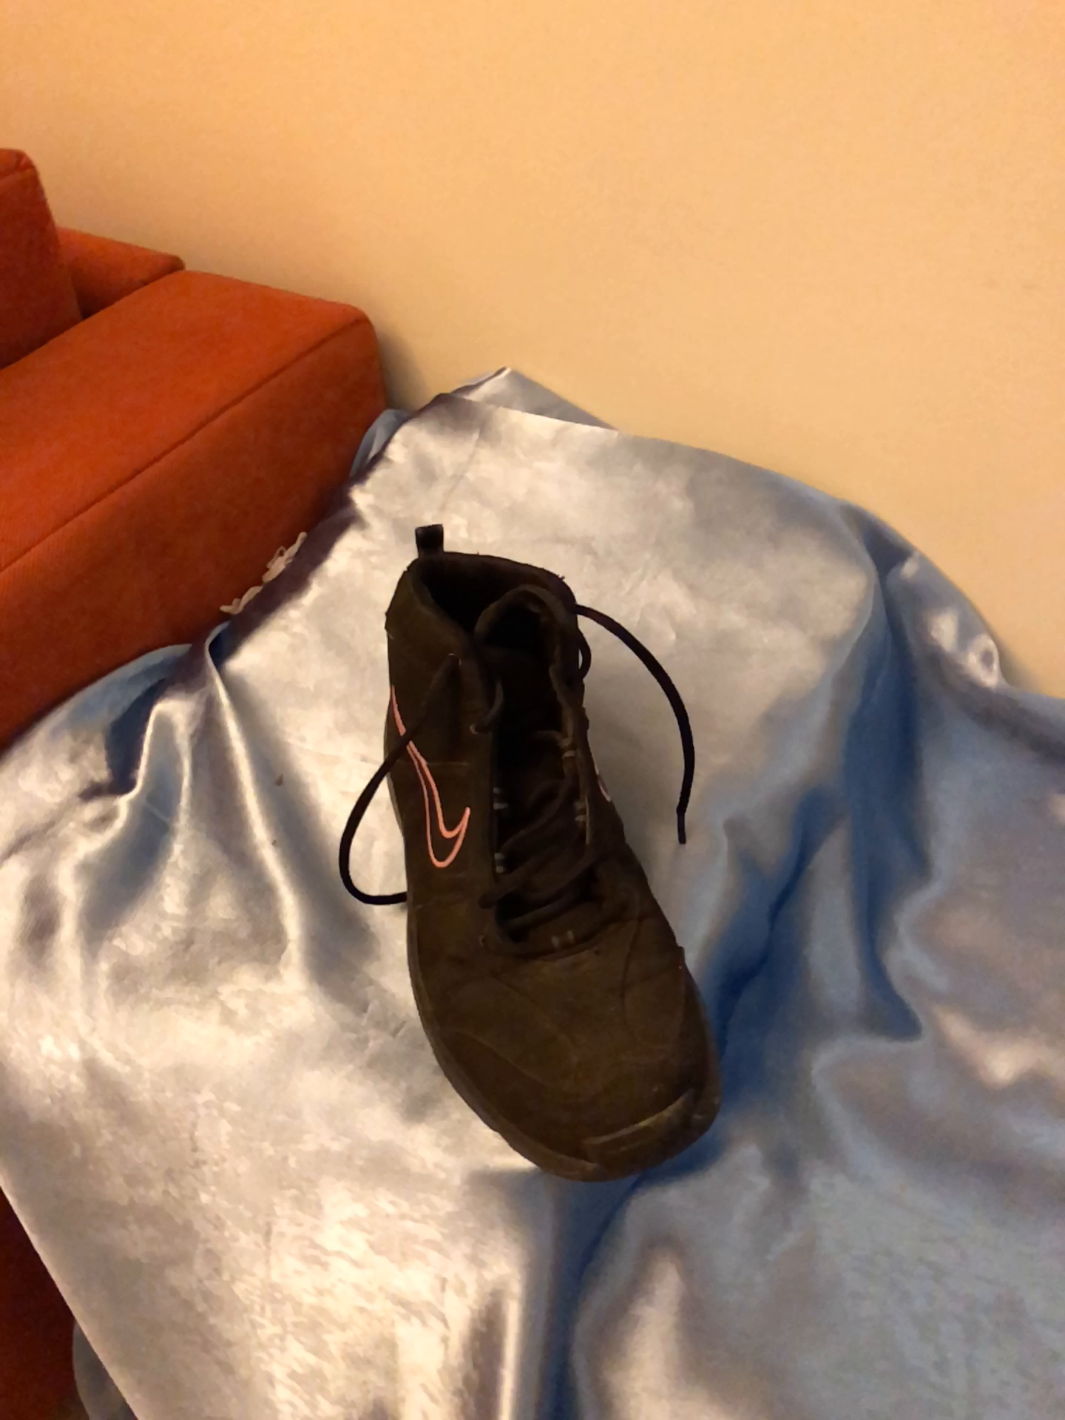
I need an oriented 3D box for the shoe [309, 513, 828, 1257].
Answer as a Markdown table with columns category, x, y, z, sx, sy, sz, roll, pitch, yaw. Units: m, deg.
| category | x | y | z | sx | sy | sz | roll | pitch | yaw |
| --- | --- | --- | --- | --- | --- | --- | --- | --- | --- |
| shoe | -0.003 | 0.048 | 0.456 | 0.107 | 0.099 | 0.262 | -14 | 47 | -11 |
